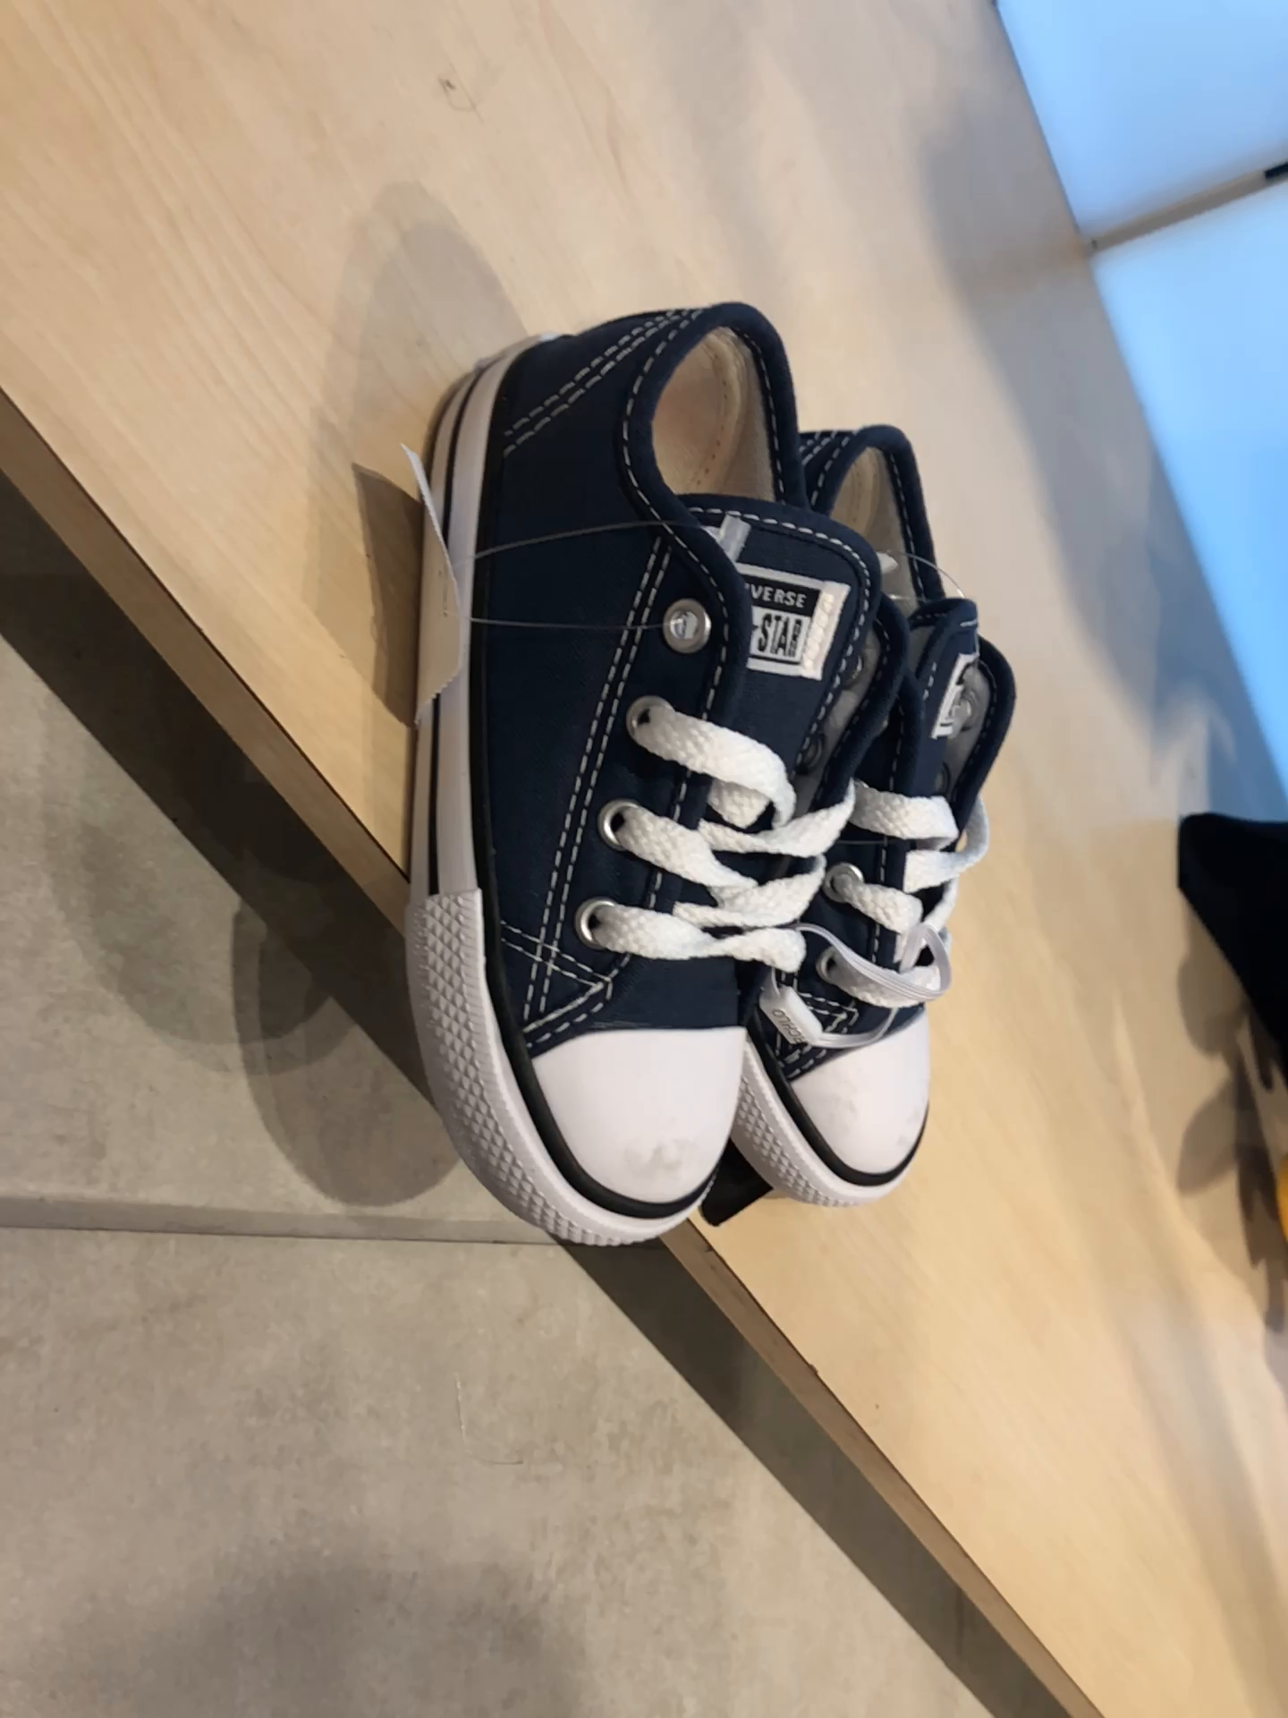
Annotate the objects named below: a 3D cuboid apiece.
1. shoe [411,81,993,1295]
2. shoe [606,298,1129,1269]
[{"bbox_3d":[0.012,-0.022,0.246,0.081,0.060,0.170,9,78,-52],"label":"shoe"},{"bbox_3d":[0.049,-0.013,0.300,0.081,0.060,0.170,-7,91,-53],"label":"shoe"}]
